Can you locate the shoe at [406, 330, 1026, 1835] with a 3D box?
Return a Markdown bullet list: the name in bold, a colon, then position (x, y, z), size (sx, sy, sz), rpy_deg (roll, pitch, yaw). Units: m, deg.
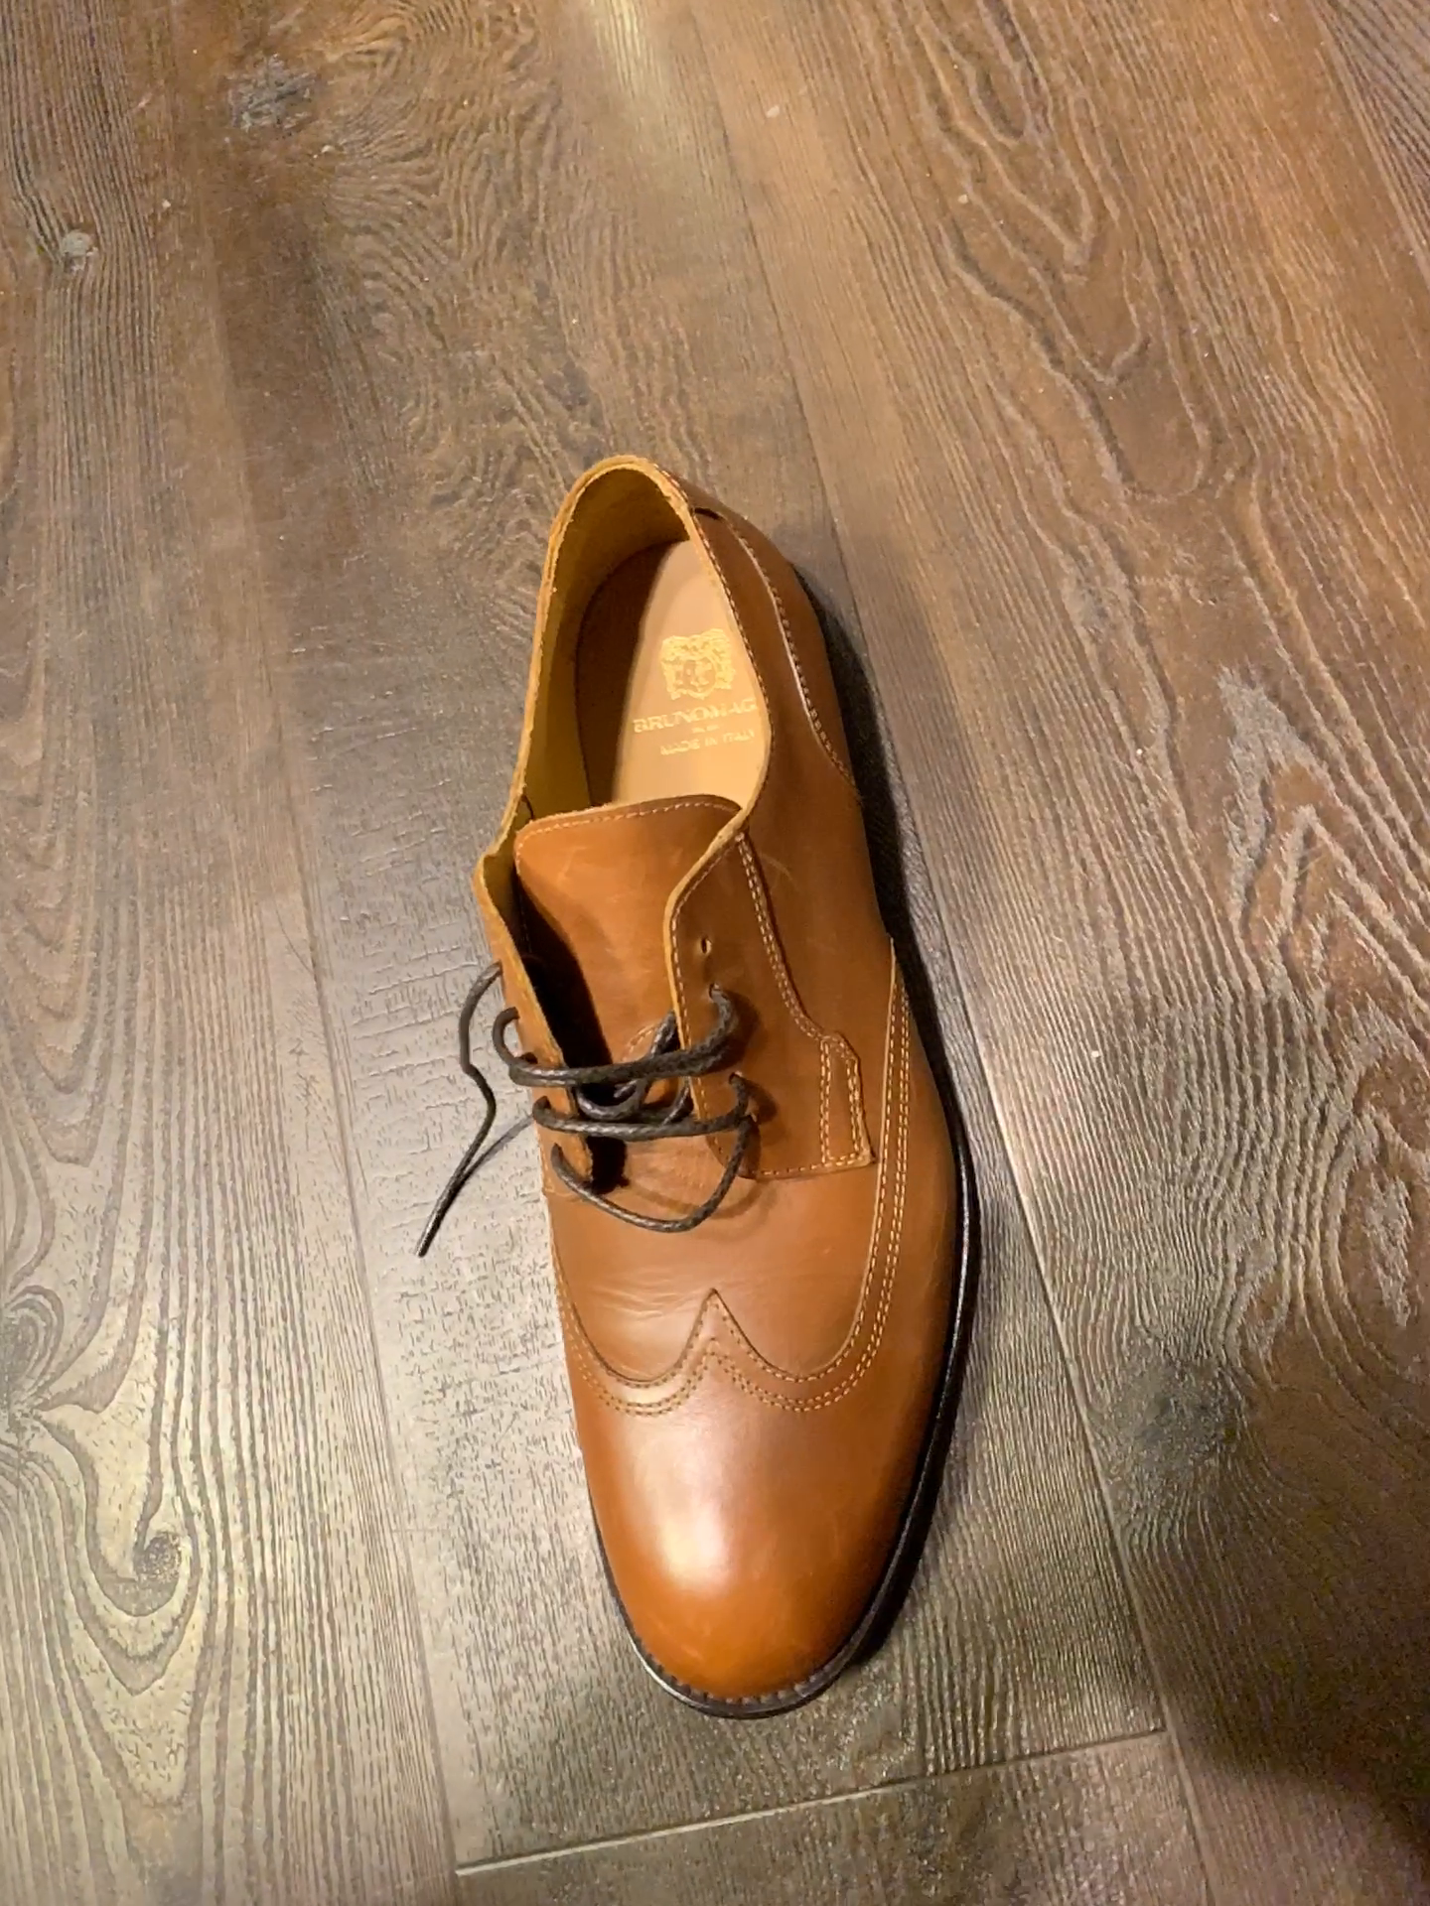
- **shoe**: position (0.001, 0.025, 0.371), size (0.120, 0.110, 0.321), rpy_deg (-5, 76, 9)
